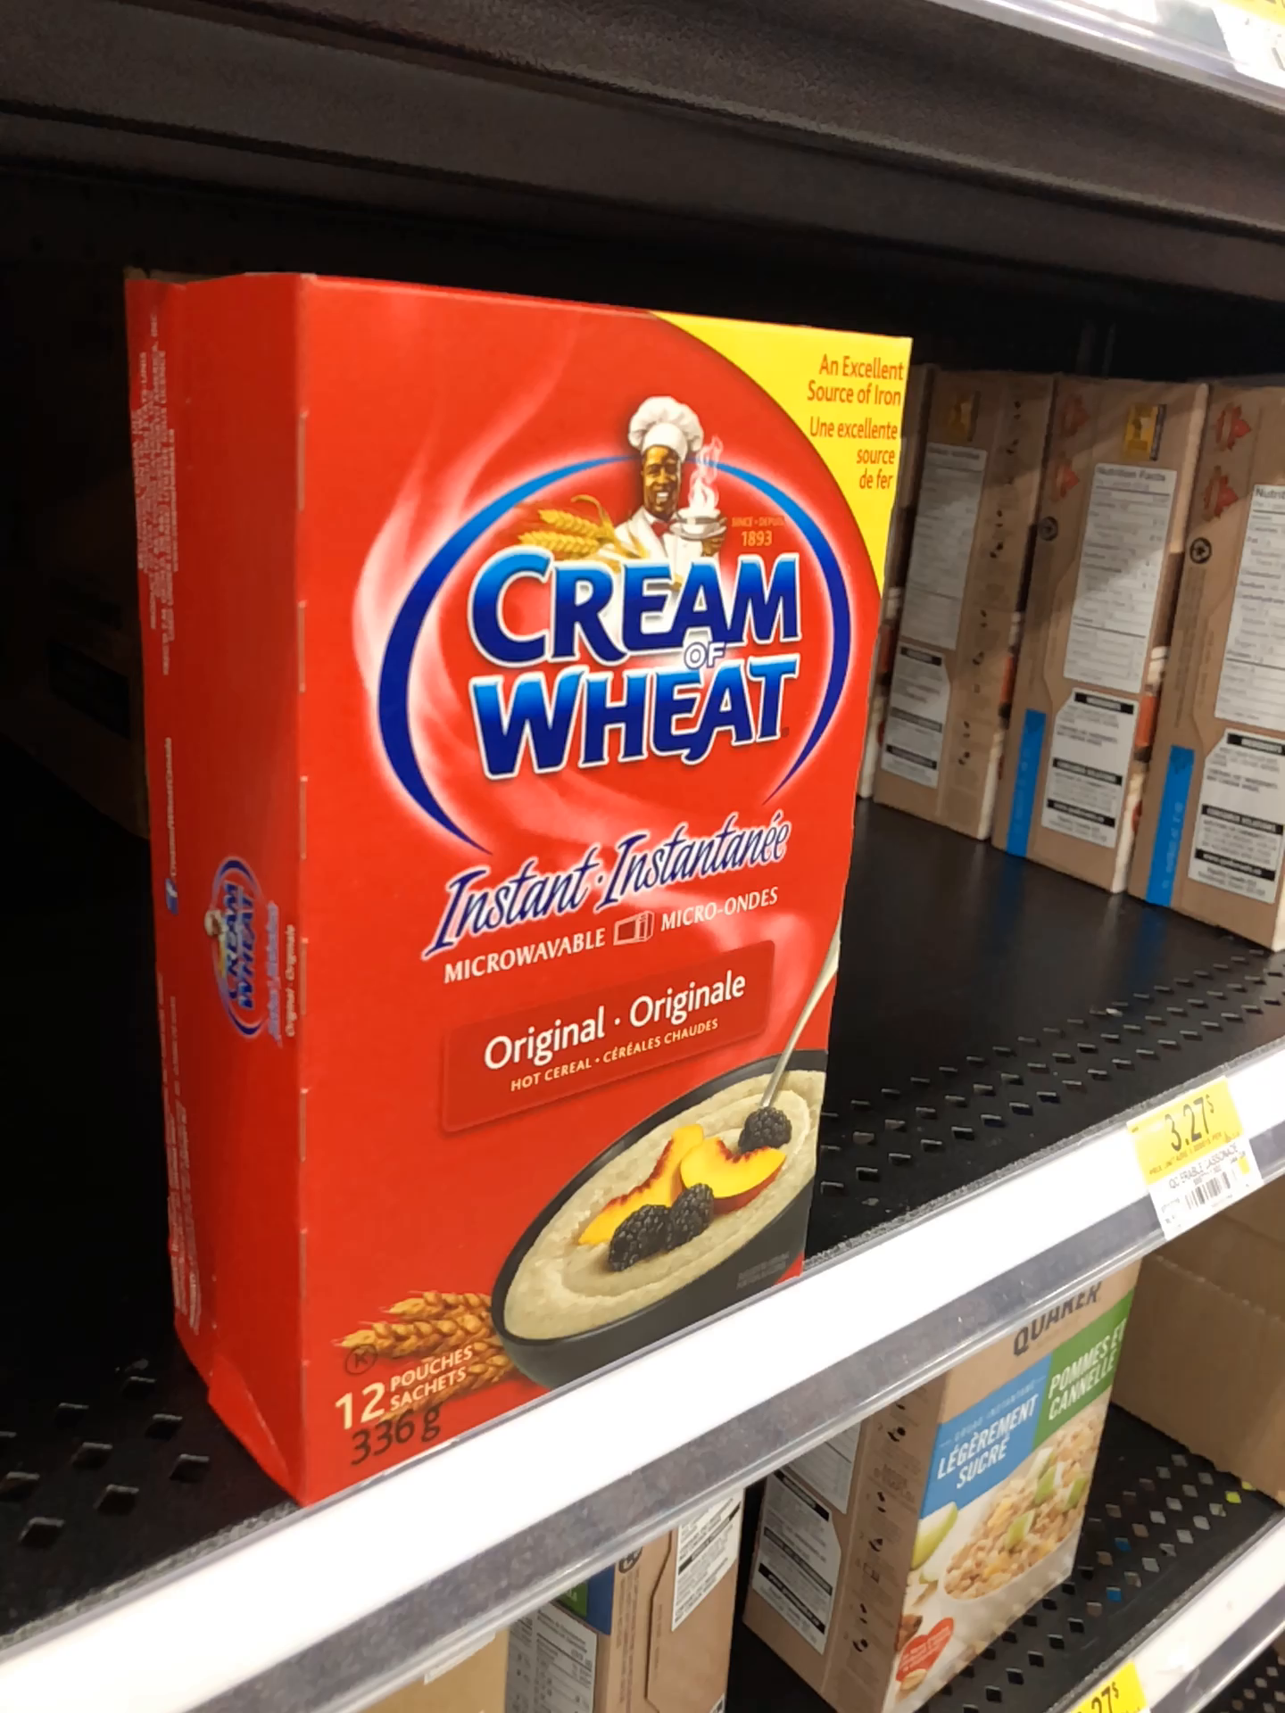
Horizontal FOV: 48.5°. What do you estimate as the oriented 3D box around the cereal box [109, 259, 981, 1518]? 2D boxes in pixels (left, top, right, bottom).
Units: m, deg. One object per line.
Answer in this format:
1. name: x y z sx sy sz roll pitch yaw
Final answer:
1. cereal box: -0.018 -0.001 0.262 0.130 0.189 0.060 -11 25 -38
